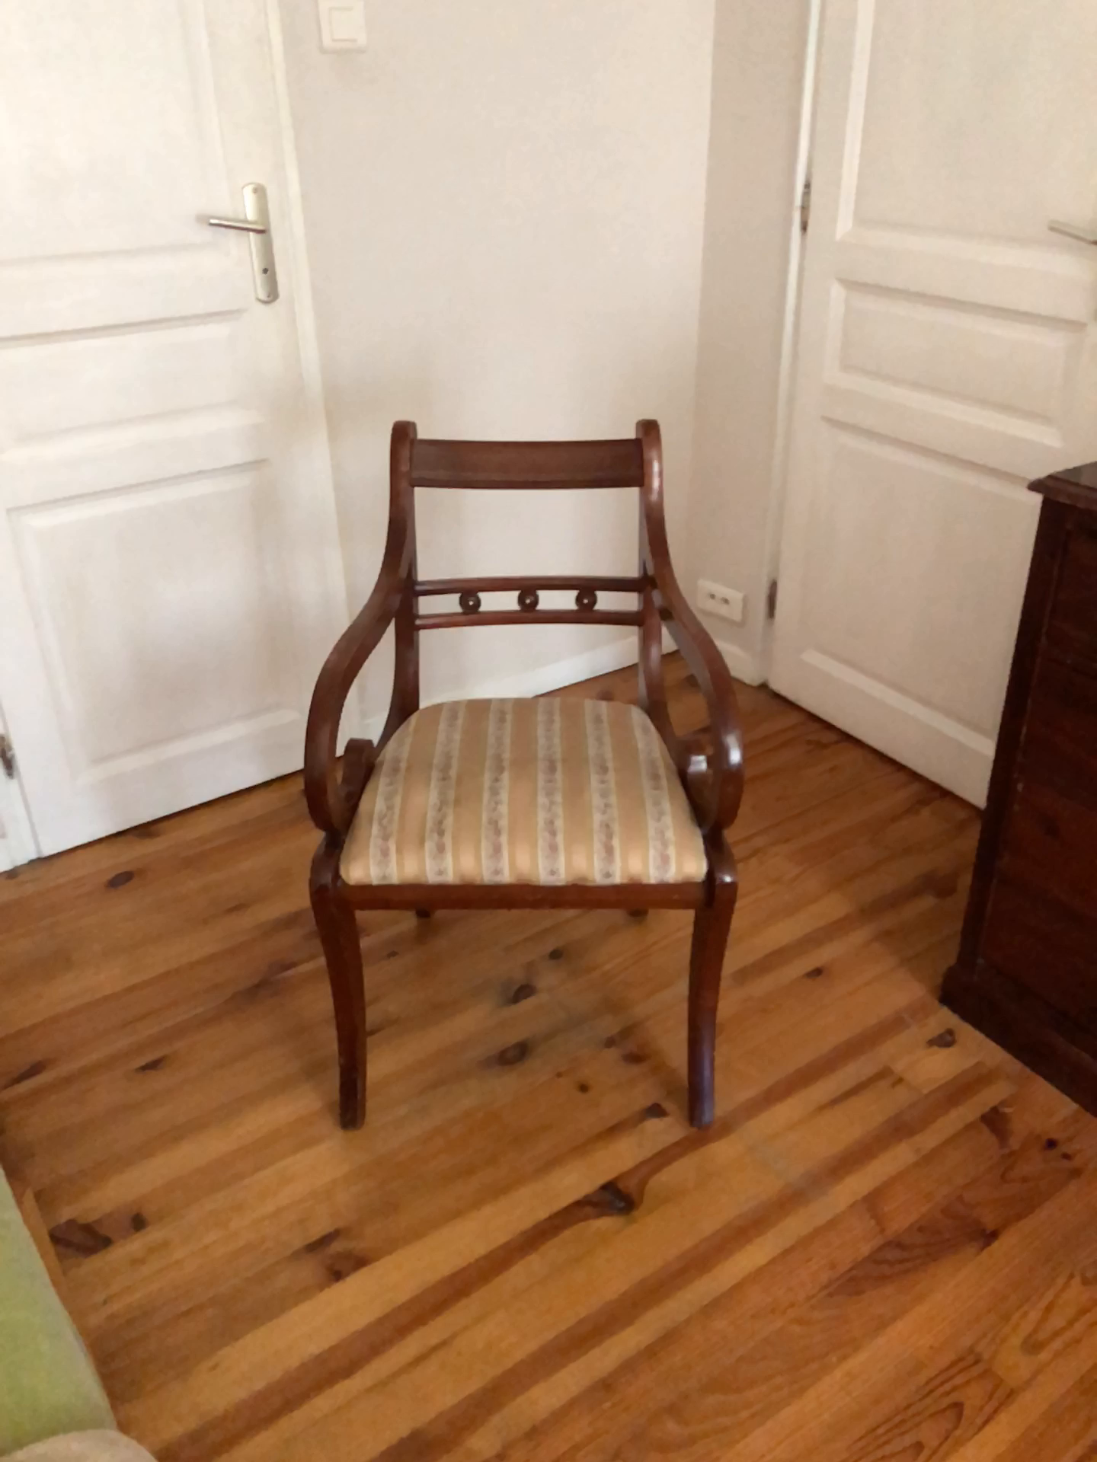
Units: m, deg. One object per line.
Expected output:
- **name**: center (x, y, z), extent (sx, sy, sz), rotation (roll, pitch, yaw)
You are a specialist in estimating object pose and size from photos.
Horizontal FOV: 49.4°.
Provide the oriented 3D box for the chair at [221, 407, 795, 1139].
- **chair**: center (-0.028, 0.038, 1.649), extent (0.580, 0.825, 0.573), rotation (0, 29, 2)
